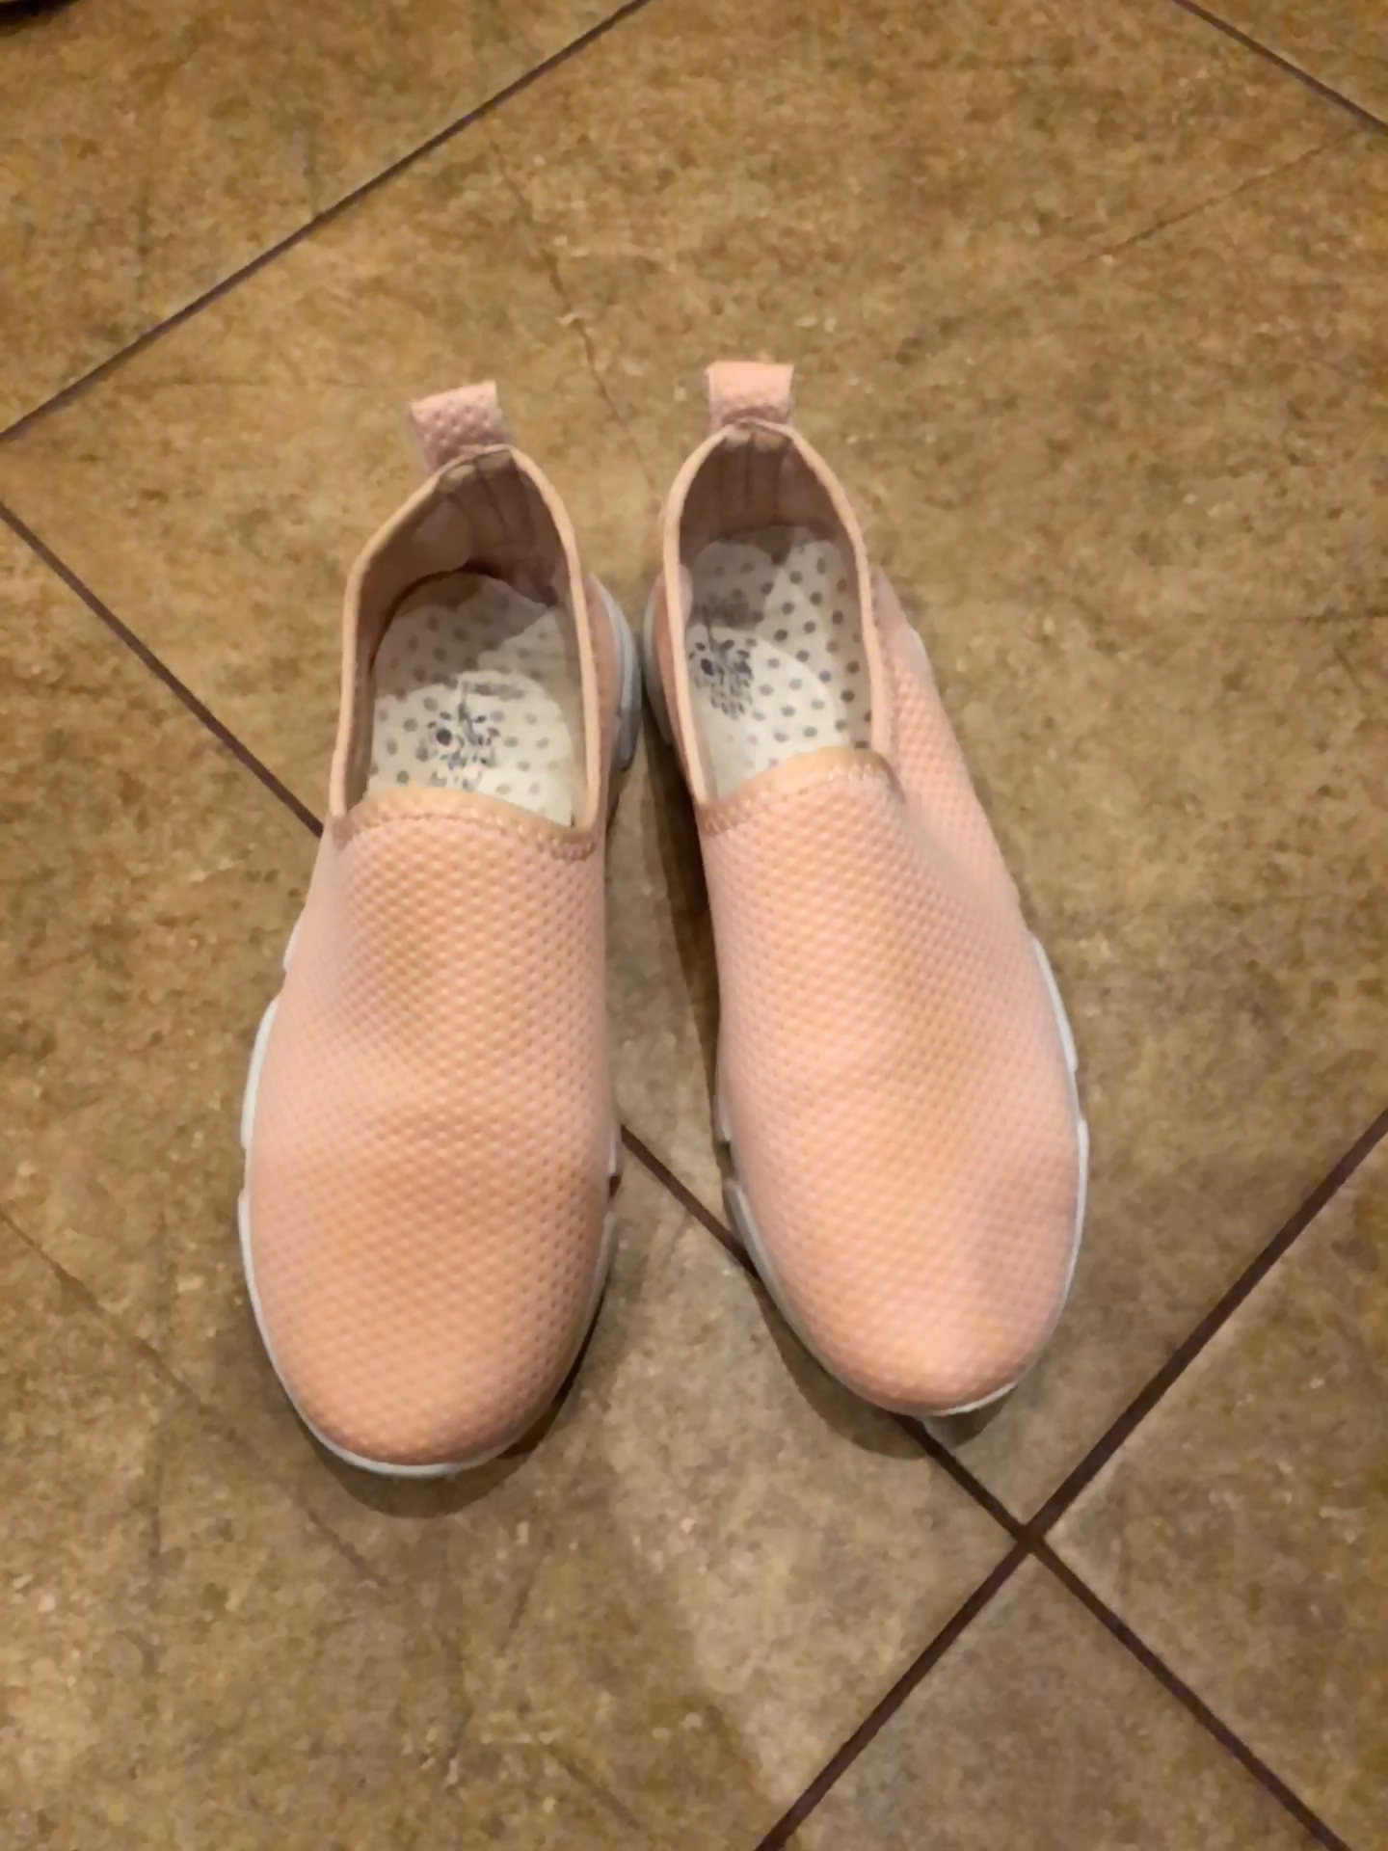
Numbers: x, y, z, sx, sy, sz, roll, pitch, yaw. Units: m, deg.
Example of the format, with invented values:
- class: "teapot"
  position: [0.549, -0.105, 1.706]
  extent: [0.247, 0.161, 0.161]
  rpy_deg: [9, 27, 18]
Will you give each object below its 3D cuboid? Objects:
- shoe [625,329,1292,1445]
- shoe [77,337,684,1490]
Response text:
- class: "shoe"
  position: [0.045, -0.009, 0.359]
  extent: [0.090, 0.100, 0.231]
  rpy_deg: [-7, 67, -3]
- class: "shoe"
  position: [-0.054, 0.000, 0.362]
  extent: [0.090, 0.120, 0.241]
  rpy_deg: [3, 67, 1]
